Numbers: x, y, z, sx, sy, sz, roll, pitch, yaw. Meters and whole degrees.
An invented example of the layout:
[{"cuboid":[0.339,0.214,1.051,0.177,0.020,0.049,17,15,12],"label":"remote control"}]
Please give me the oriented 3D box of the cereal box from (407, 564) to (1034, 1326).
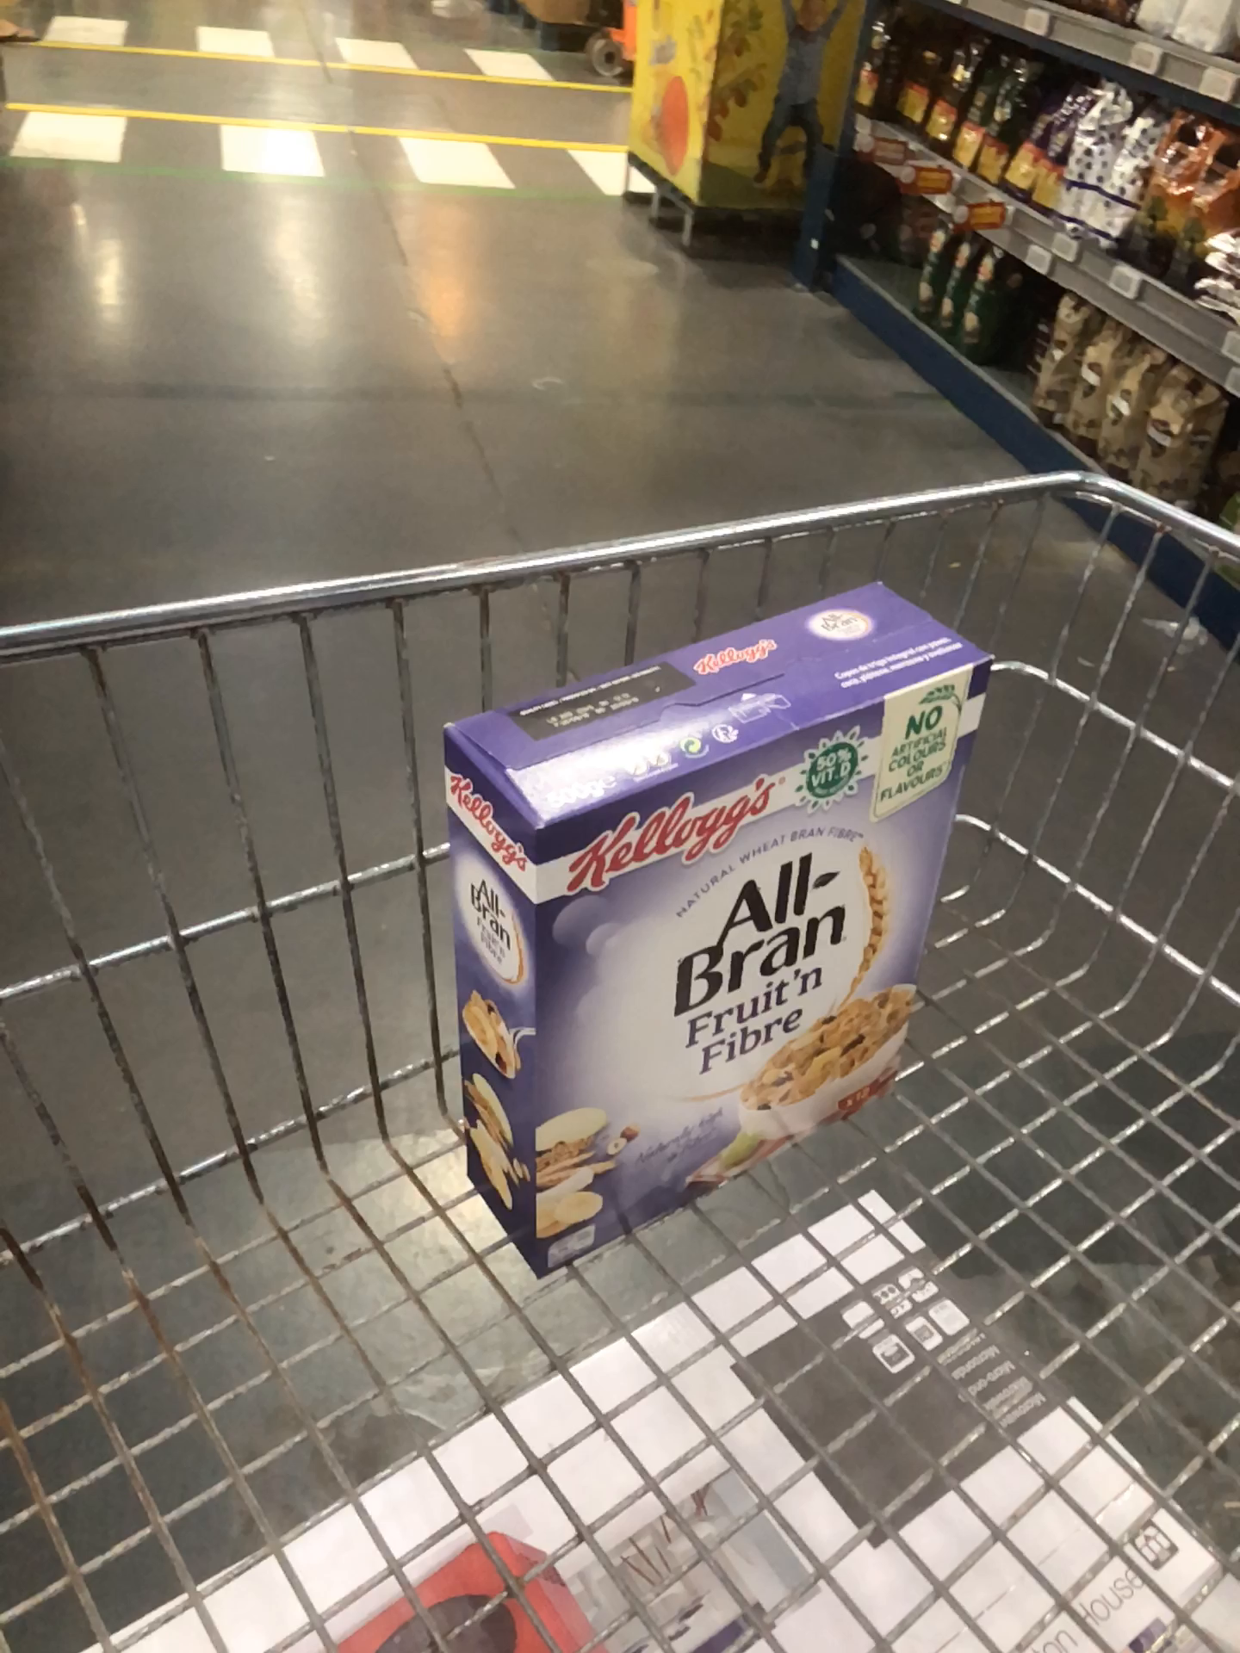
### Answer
[{"cuboid":[0.031,0.045,0.496,0.190,0.229,0.070,-22,47,-27],"label":"cereal box"}]
